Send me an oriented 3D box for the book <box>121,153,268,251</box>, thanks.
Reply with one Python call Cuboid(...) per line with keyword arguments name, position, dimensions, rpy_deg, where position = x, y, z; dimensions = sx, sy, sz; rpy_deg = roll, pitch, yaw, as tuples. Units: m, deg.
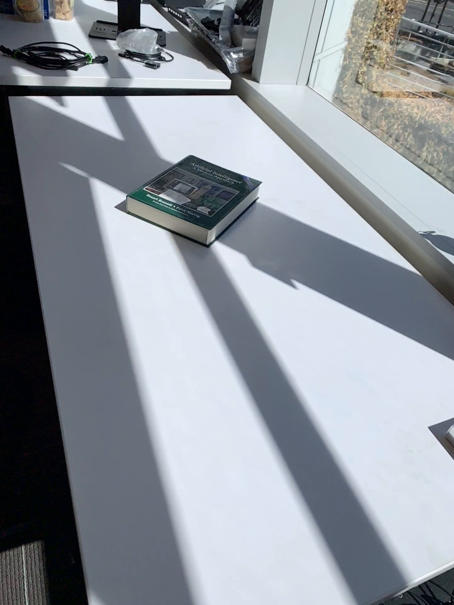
Cuboid(name="book", position=(-0.067, -0.241, 1.067), dimensions=(0.230, 0.050, 0.261), rpy_deg=(25, 43, 16))
